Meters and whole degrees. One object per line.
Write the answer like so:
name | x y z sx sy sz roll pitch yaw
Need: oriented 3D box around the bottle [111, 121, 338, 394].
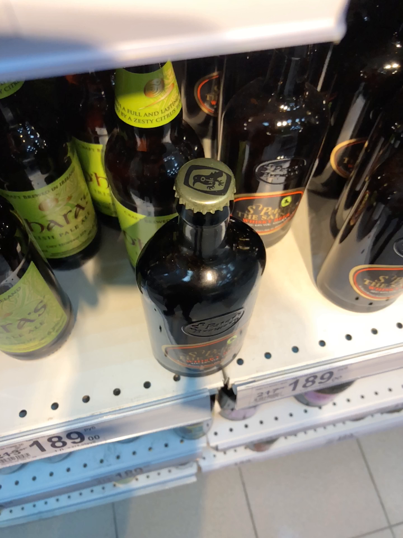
bottle | 0.006 0.017 0.303 0.090 0.229 0.060 -12 62 -8
